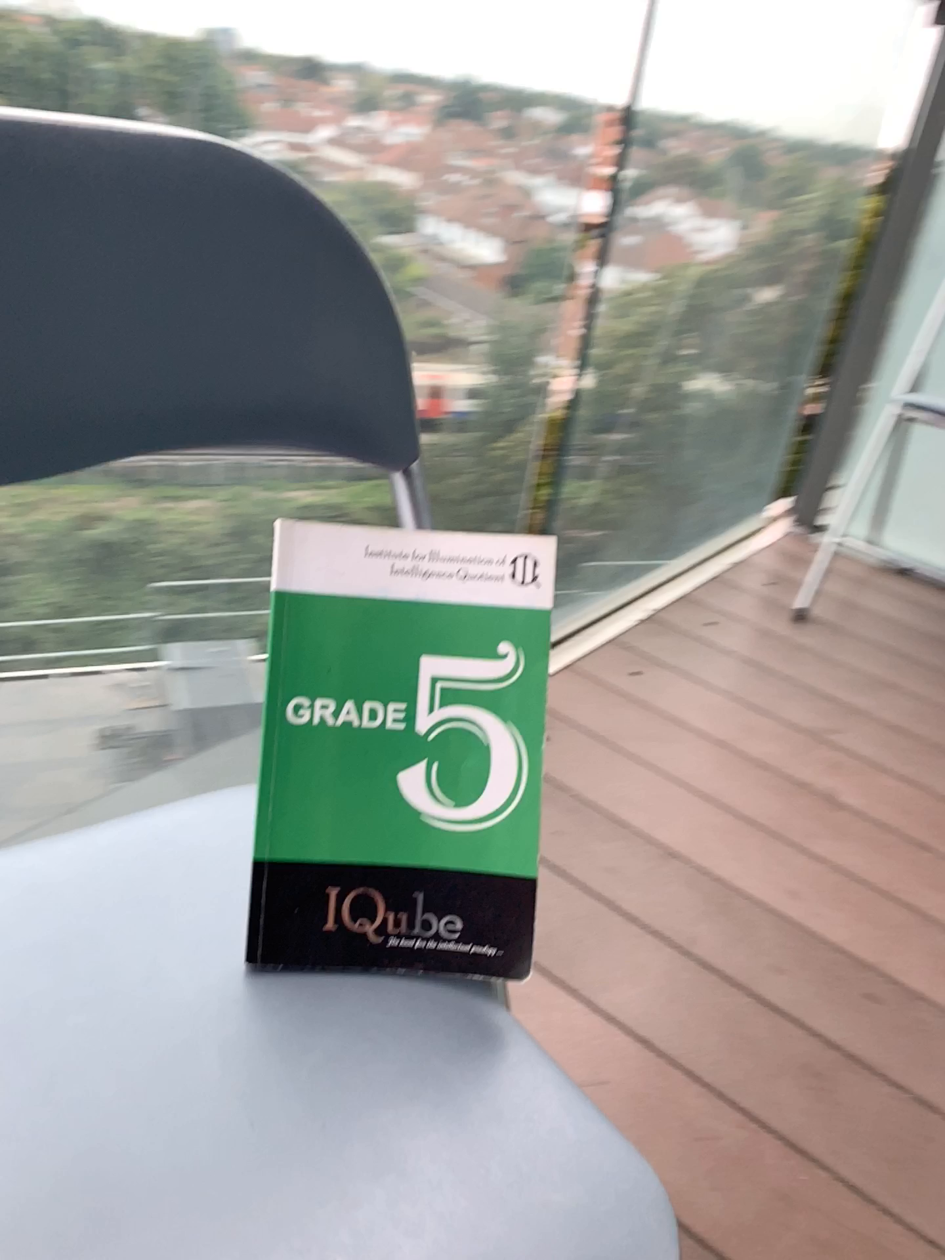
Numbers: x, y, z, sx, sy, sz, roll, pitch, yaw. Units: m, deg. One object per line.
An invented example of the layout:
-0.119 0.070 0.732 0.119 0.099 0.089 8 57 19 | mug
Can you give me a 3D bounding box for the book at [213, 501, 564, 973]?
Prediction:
-0.038 0.050 0.466 0.150 0.210 0.040 3 -4 -4 | book
